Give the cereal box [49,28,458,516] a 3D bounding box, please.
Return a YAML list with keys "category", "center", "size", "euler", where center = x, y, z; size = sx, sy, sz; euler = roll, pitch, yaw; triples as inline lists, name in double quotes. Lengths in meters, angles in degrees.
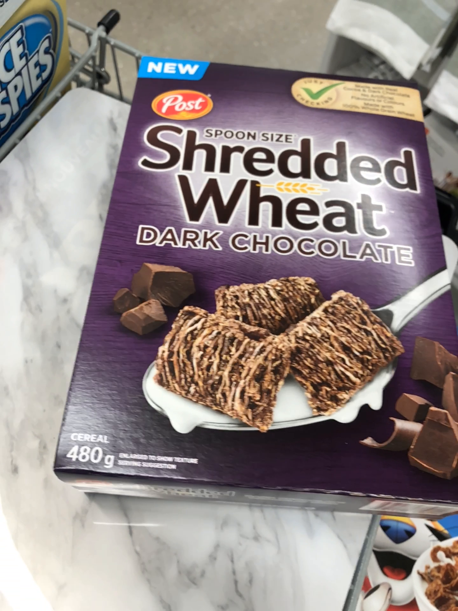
- category: "cereal box"
  center: [0.023, -0.034, 0.323]
  size: [0.190, 0.070, 0.290]
  euler: [6, 64, -3]
